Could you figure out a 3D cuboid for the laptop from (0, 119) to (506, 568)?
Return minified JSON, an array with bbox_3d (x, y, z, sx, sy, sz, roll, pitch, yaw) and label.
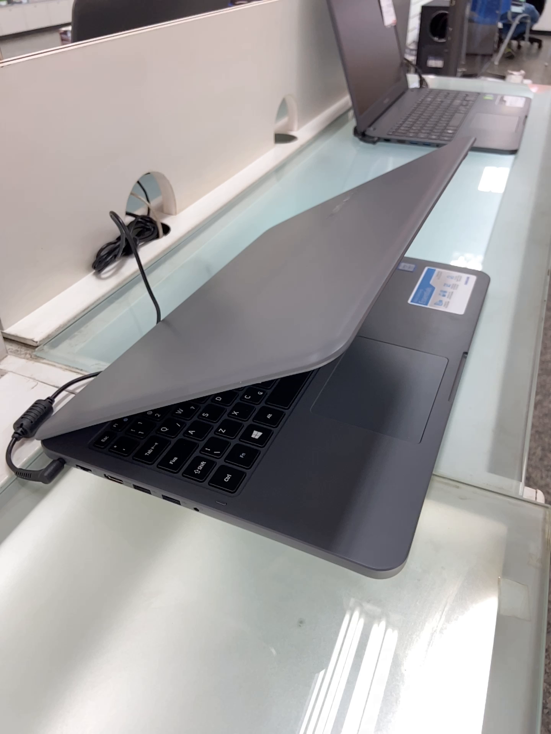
[{"bbox_3d":[0.020,-0.072,0.437,0.237,0.126,0.369,15,39,19],"label":"laptop"}]
